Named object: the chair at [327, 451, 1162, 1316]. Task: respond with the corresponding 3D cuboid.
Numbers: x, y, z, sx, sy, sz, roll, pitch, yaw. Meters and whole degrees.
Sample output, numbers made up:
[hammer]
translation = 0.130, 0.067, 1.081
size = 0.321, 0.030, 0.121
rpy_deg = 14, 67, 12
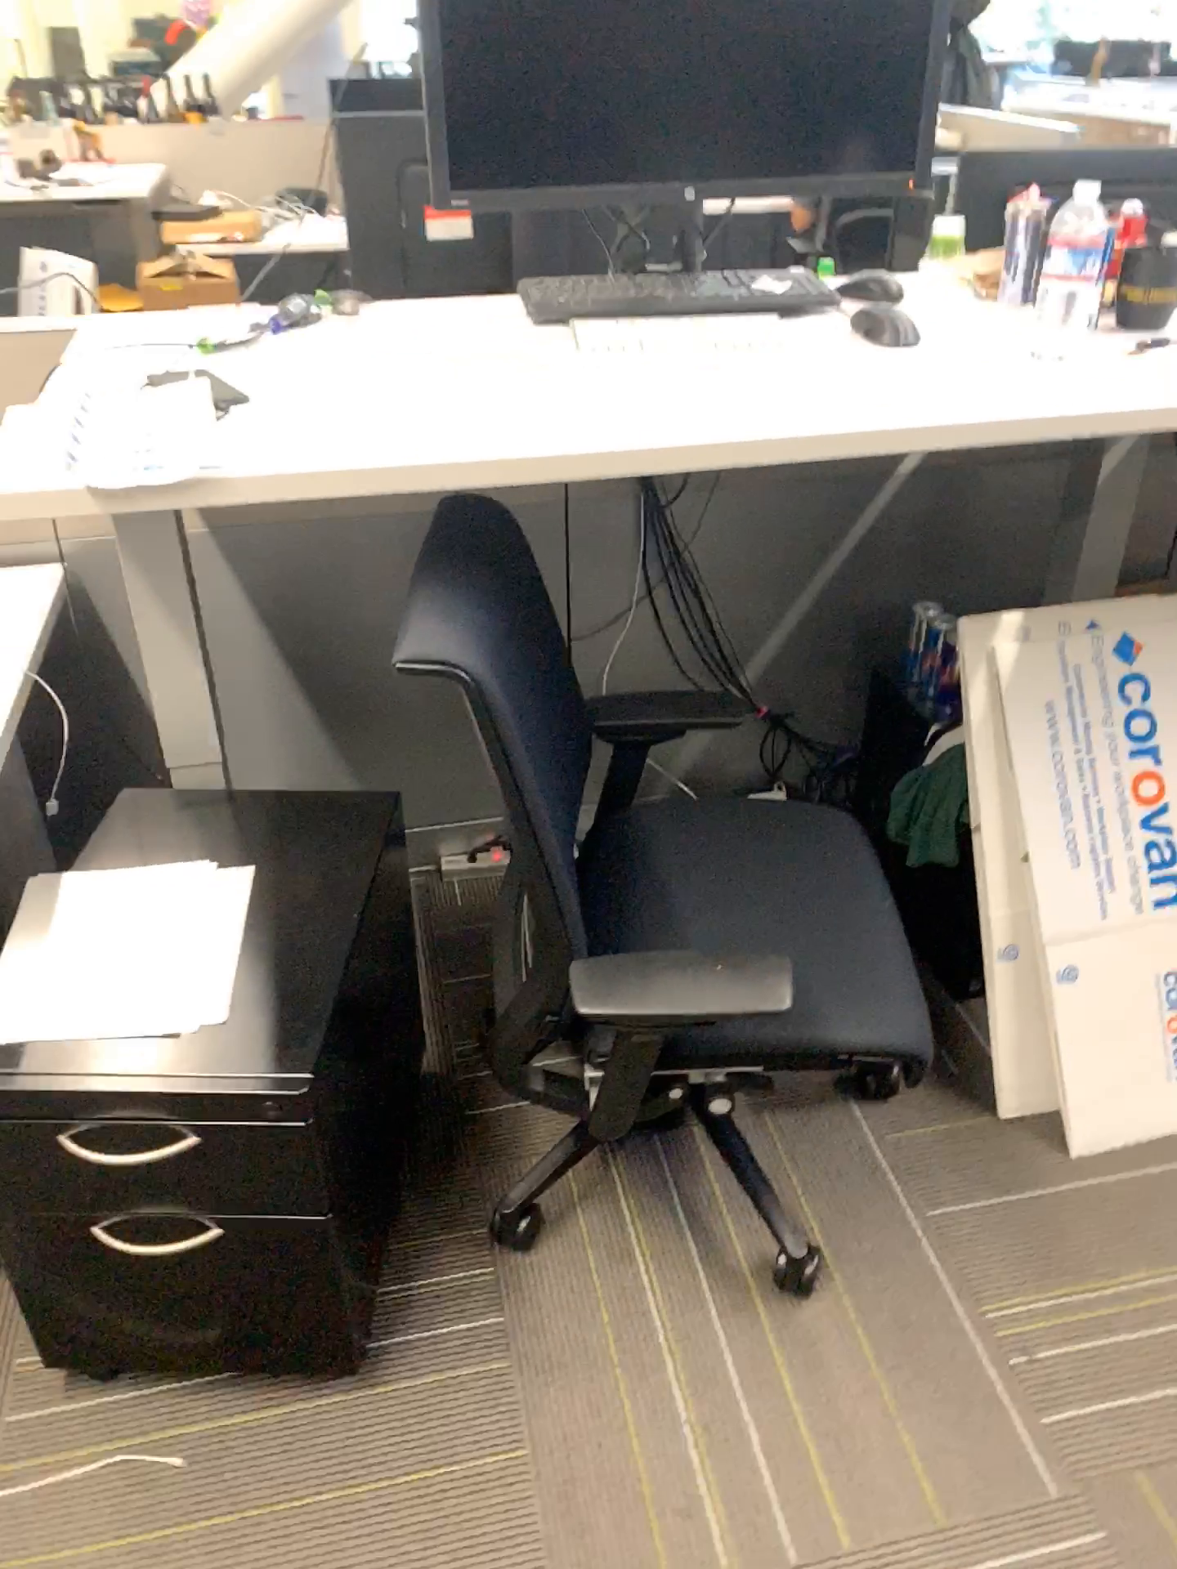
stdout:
[chair]
translation = 0.151, 0.085, 1.585
size = 0.720, 0.805, 0.784
rpy_deg = 1, 33, 3
